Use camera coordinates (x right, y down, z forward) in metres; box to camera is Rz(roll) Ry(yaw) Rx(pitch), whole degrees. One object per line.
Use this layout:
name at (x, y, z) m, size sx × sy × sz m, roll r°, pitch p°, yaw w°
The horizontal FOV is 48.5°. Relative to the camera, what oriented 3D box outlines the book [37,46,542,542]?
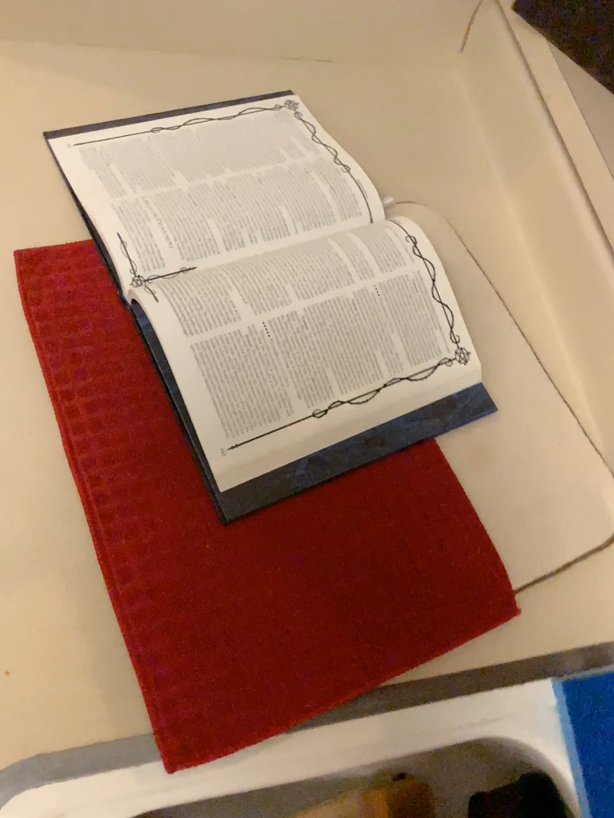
book at (-0.026, -0.143, 0.646) m, size 0.290 × 0.060 × 0.450 m, roll -22°, pitch 72°, yaw -22°
